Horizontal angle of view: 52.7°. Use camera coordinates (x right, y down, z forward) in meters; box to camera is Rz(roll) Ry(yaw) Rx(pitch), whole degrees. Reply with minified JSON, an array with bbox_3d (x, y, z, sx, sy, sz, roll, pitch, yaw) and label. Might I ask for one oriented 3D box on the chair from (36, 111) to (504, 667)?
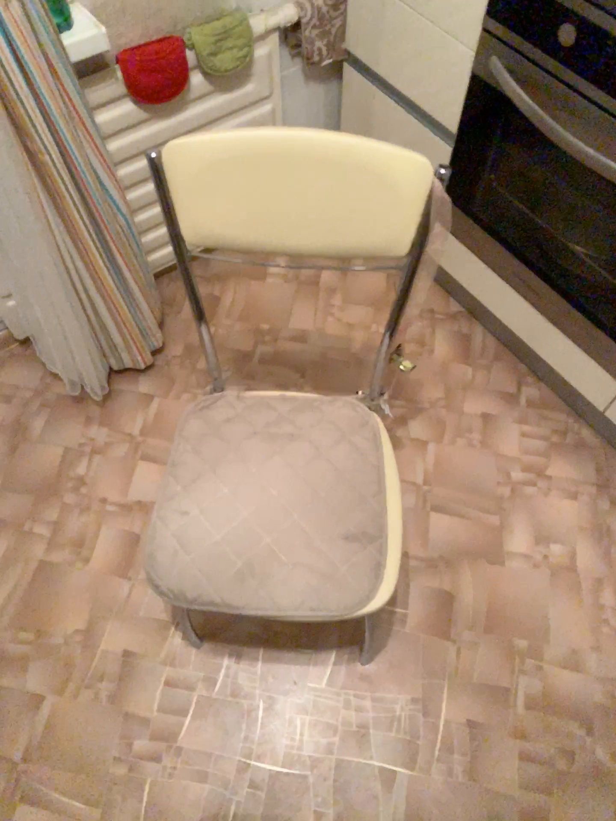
[{"bbox_3d":[-0.016,0.072,1.002,0.384,0.855,0.493,4,60,2],"label":"chair"}]
